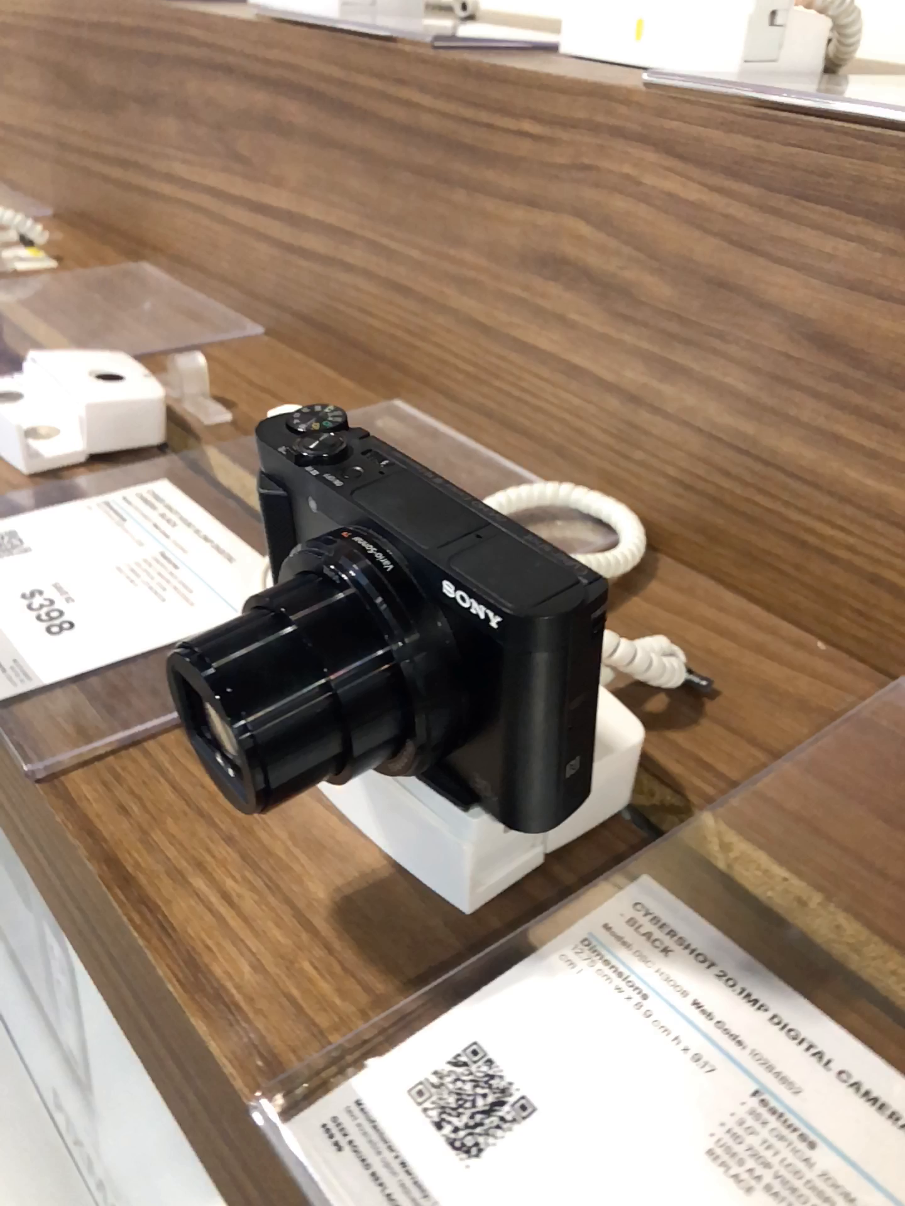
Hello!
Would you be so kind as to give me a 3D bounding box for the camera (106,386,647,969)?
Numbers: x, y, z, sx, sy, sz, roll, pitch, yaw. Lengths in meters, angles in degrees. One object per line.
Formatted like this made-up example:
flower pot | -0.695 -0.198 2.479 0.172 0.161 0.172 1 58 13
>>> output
camera | -0.022 0.007 0.217 0.060 0.070 0.100 -19 39 -35
